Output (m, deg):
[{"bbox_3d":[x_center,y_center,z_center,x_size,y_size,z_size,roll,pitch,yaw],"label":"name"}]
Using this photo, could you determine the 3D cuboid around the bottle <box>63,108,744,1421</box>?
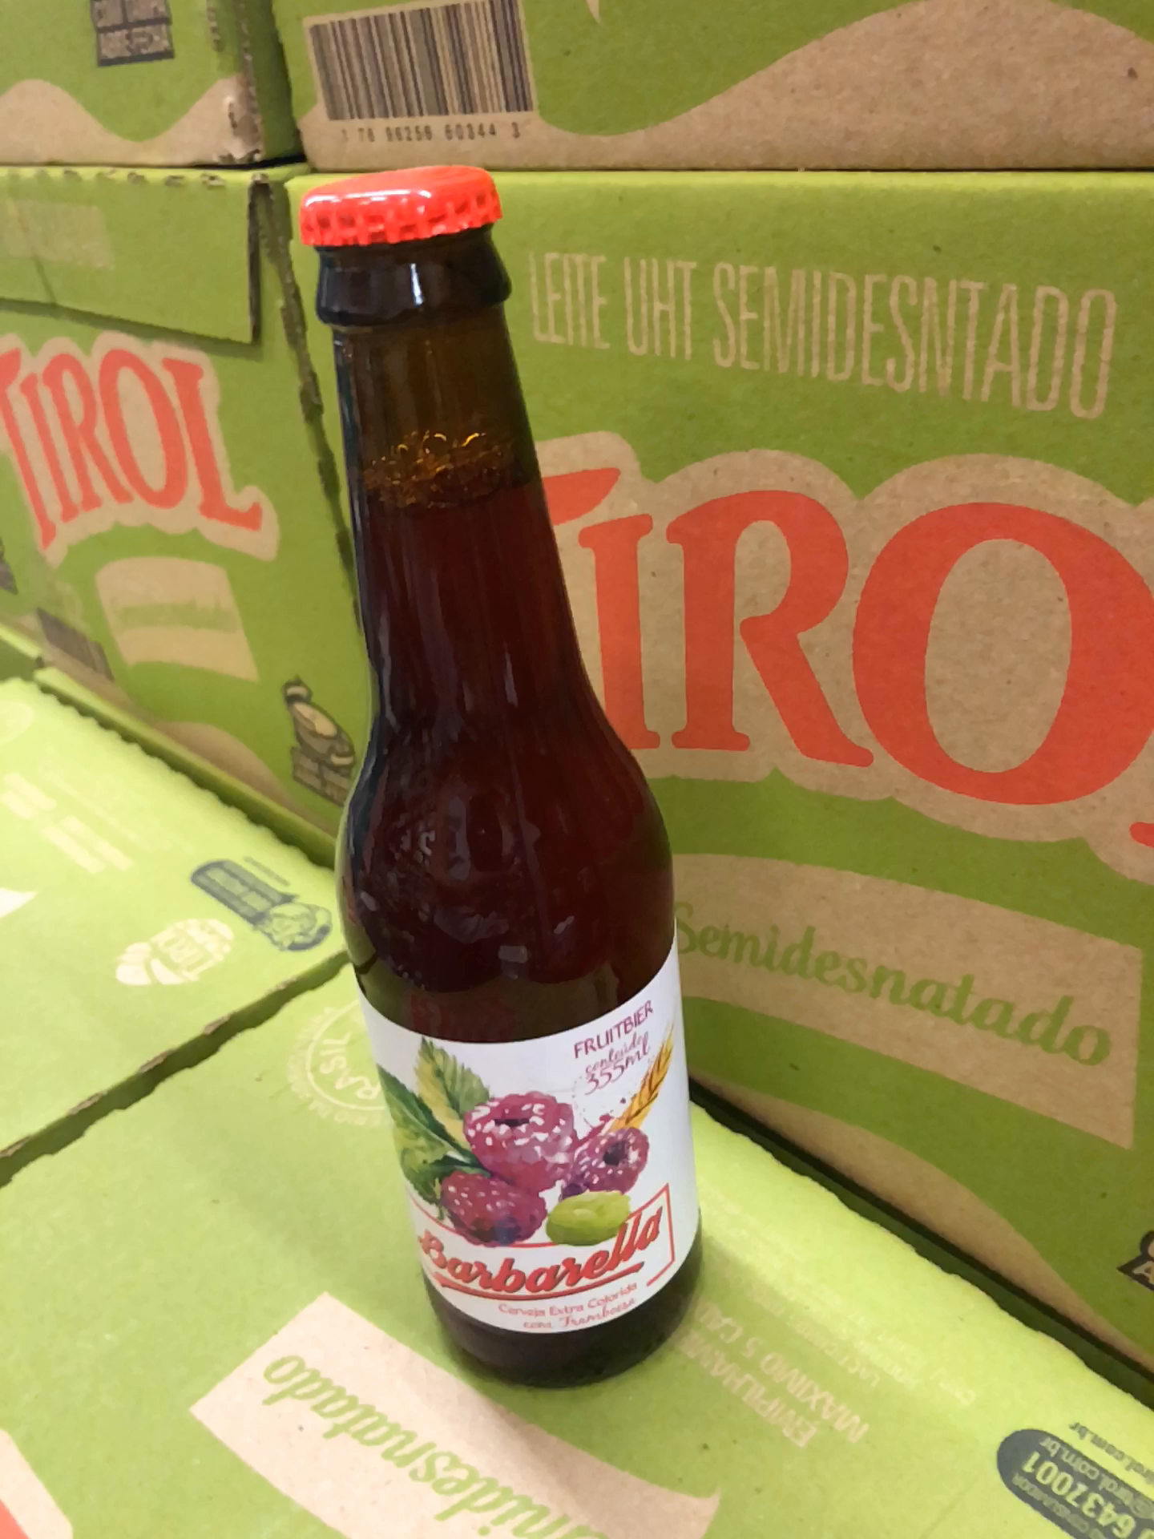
[{"bbox_3d":[-0.012,0.017,0.228,0.070,0.228,0.061,-4,31,3],"label":"bottle"}]
